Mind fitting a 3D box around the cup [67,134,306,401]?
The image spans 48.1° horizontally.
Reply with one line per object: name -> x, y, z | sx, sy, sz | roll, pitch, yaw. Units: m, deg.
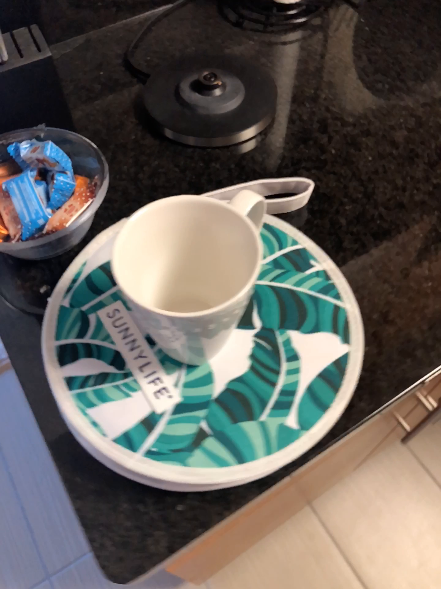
cup -> -0.015, -0.019, 0.335 | 0.090, 0.090, 0.130 | 25, 61, 15
